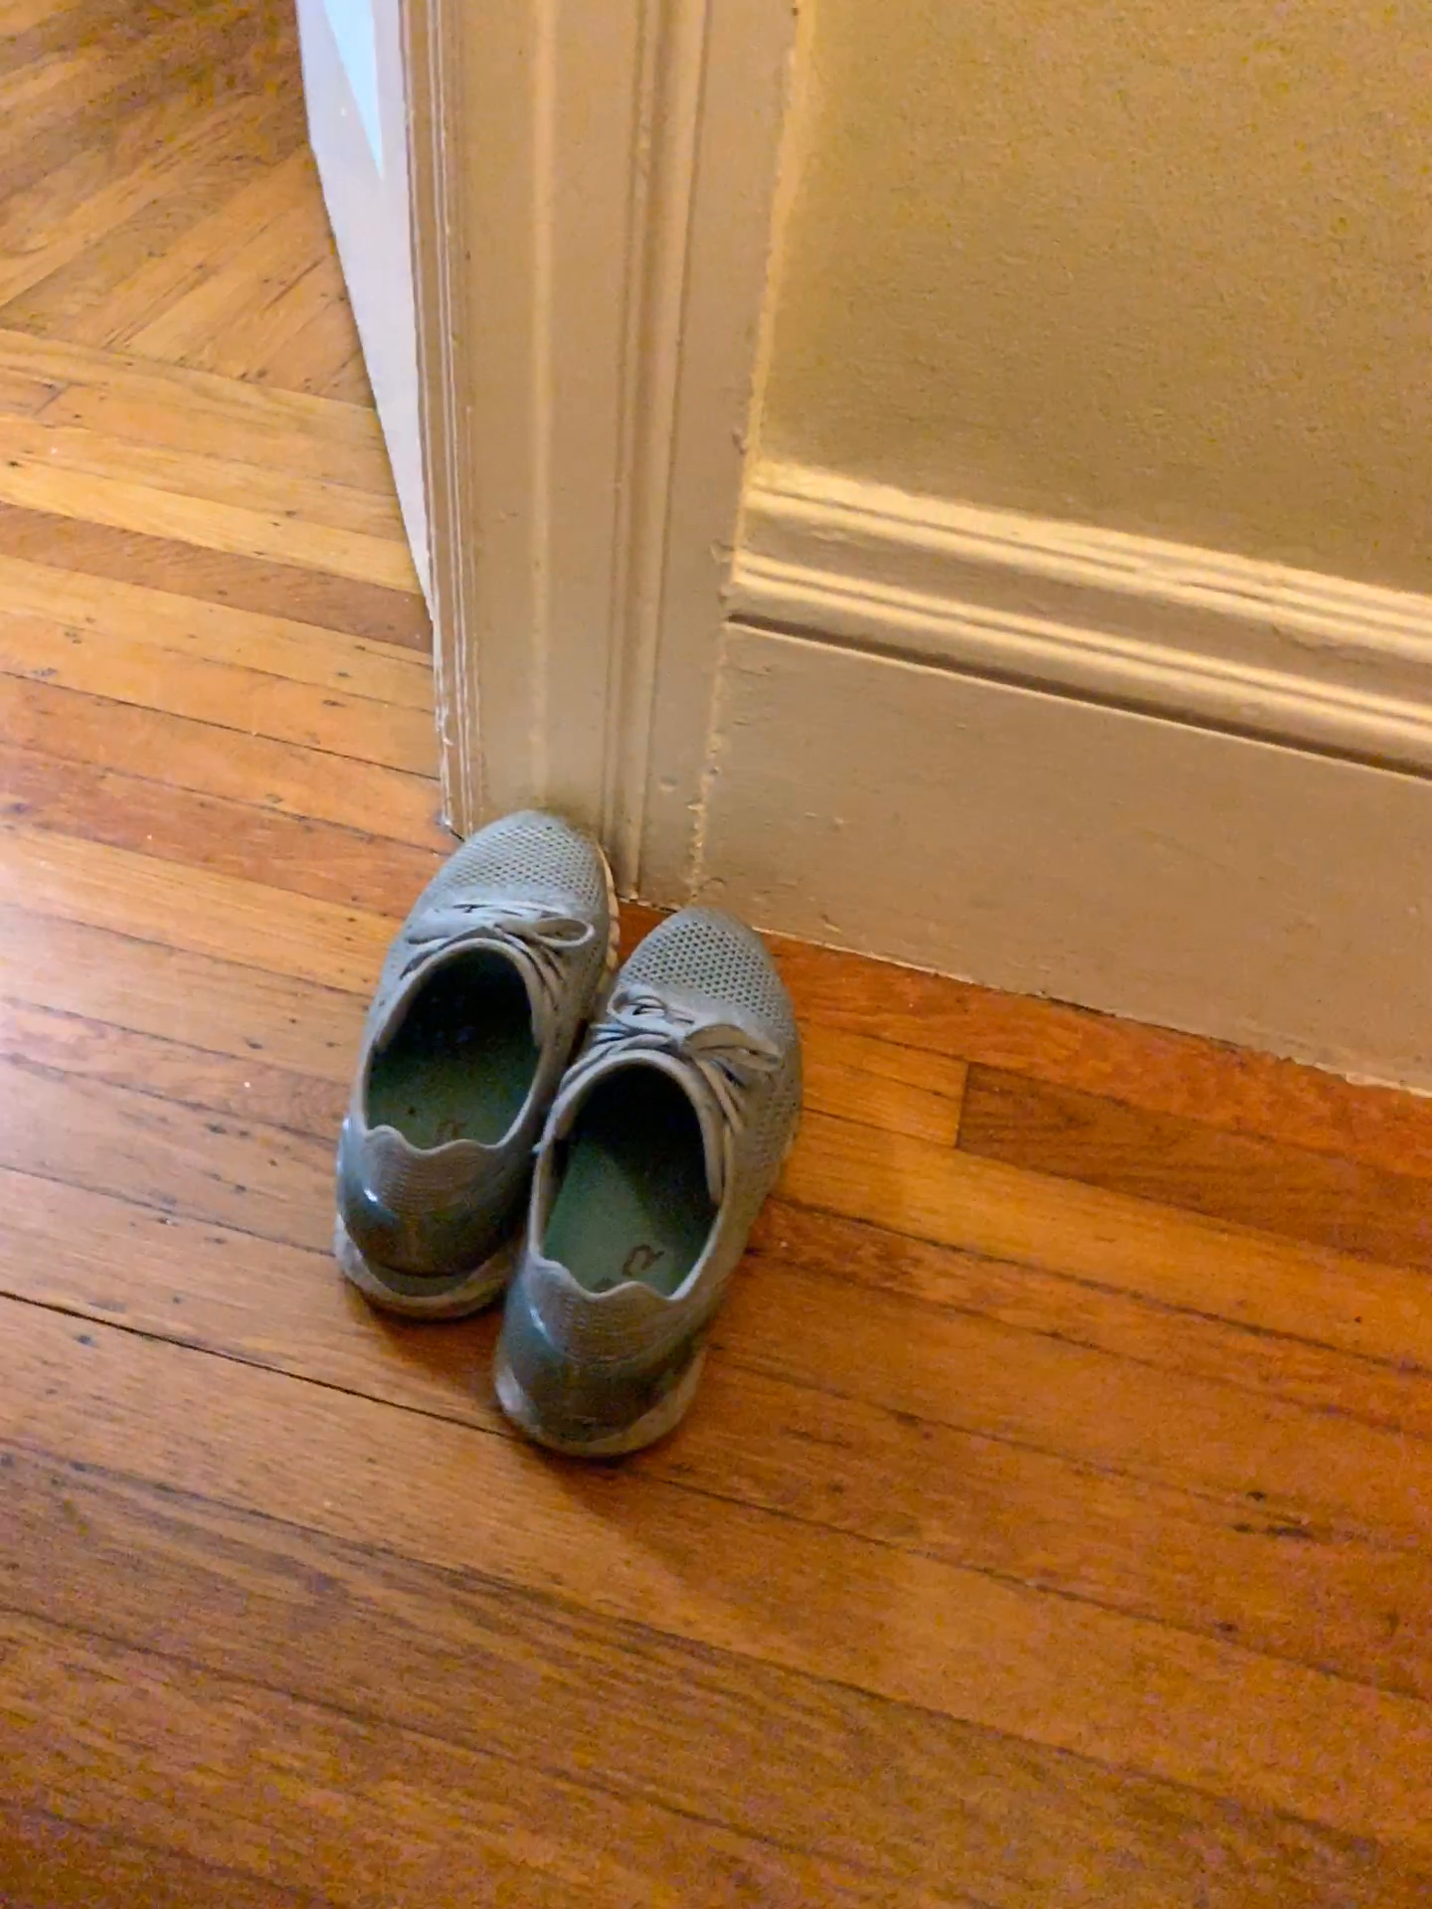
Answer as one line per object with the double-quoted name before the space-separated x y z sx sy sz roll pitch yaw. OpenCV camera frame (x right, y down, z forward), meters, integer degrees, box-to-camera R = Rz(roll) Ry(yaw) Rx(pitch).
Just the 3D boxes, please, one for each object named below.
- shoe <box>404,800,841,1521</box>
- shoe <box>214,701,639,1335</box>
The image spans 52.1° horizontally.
"shoe" -0.027 0.068 0.595 0.110 0.090 0.271 11 47 3
"shoe" -0.105 0.014 0.608 0.110 0.080 0.261 8 47 0
